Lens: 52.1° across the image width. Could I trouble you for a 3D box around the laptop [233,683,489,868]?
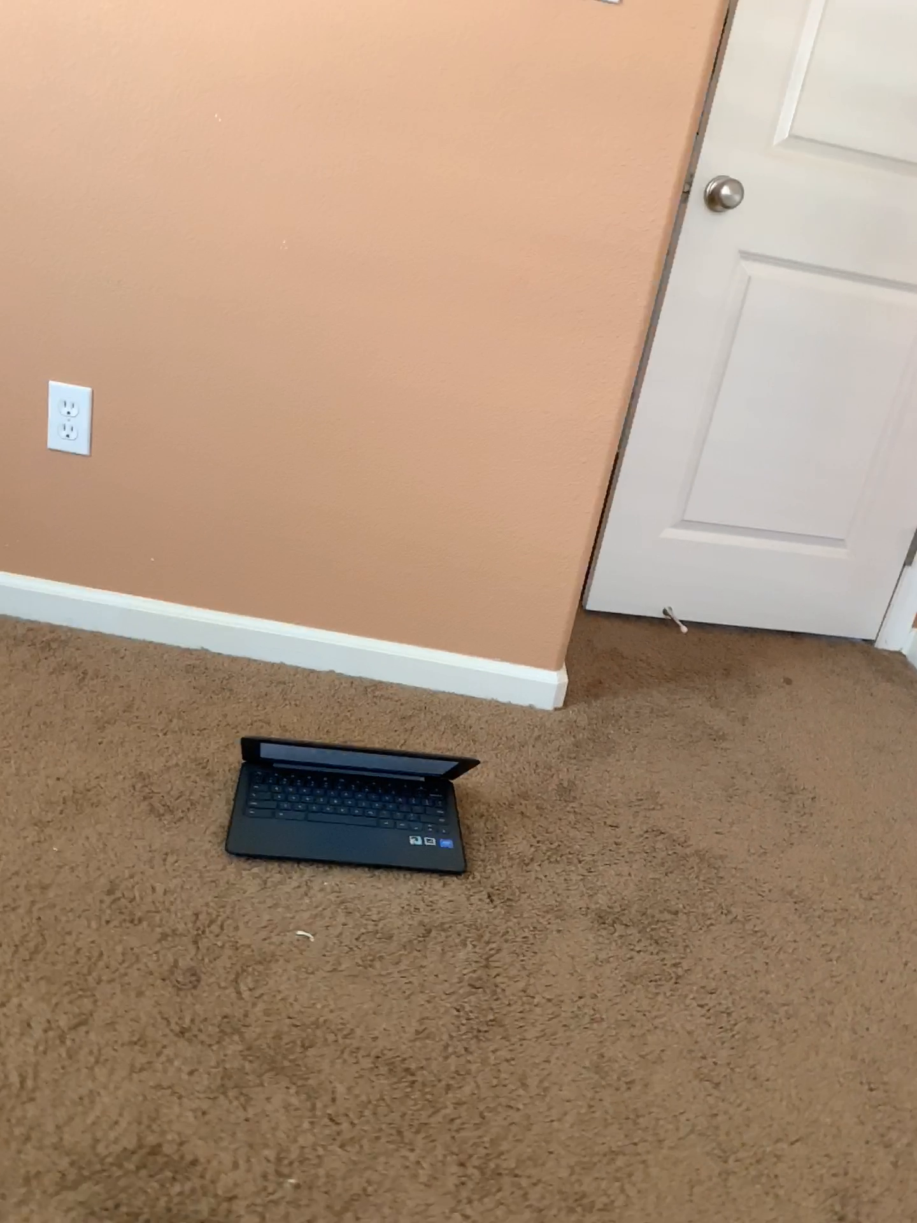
[{"bbox_3d":[-0.128,0.208,1.215,0.289,0.127,0.195,8,20,-9],"label":"laptop"}]
